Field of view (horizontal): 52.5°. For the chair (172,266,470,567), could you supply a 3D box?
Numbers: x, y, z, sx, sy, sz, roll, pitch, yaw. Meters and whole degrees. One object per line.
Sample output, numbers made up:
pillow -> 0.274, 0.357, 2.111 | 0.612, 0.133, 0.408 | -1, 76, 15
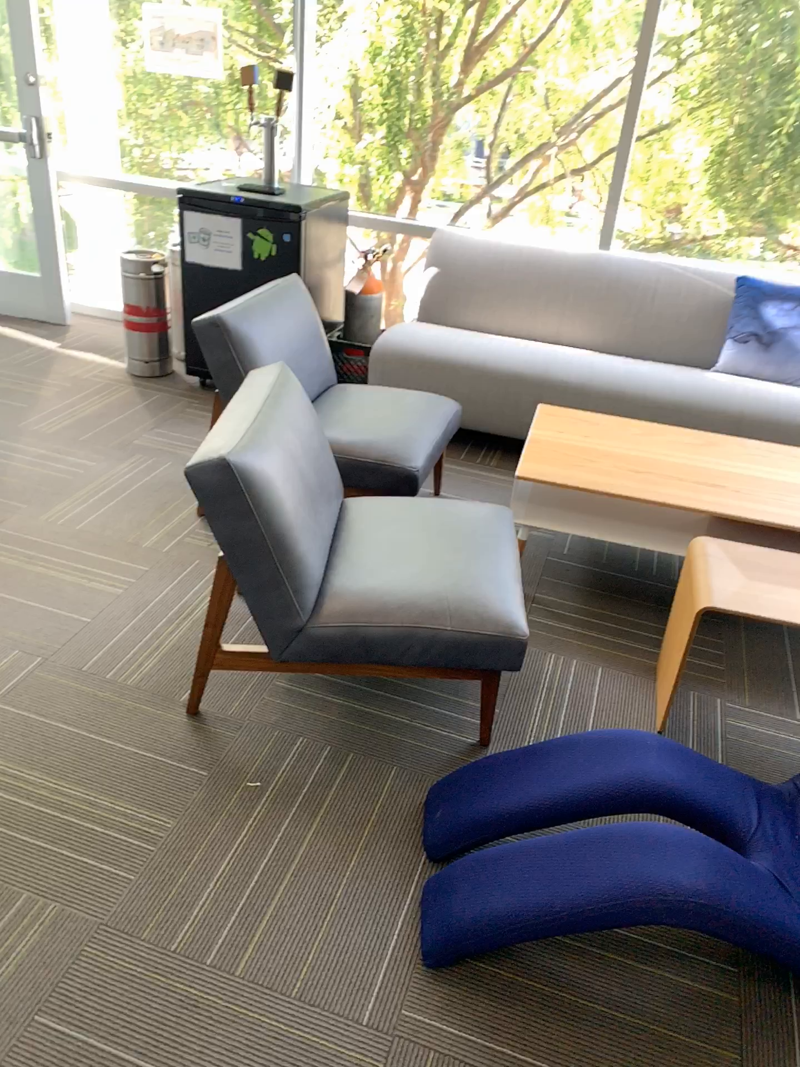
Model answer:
chair -> -0.264, -0.472, 3.022 | 0.851, 0.765, 0.744 | 11, 30, 9

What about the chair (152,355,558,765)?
chair -> -0.110, 0.044, 2.173 | 0.850, 0.765, 0.684 | 6, 30, 0
